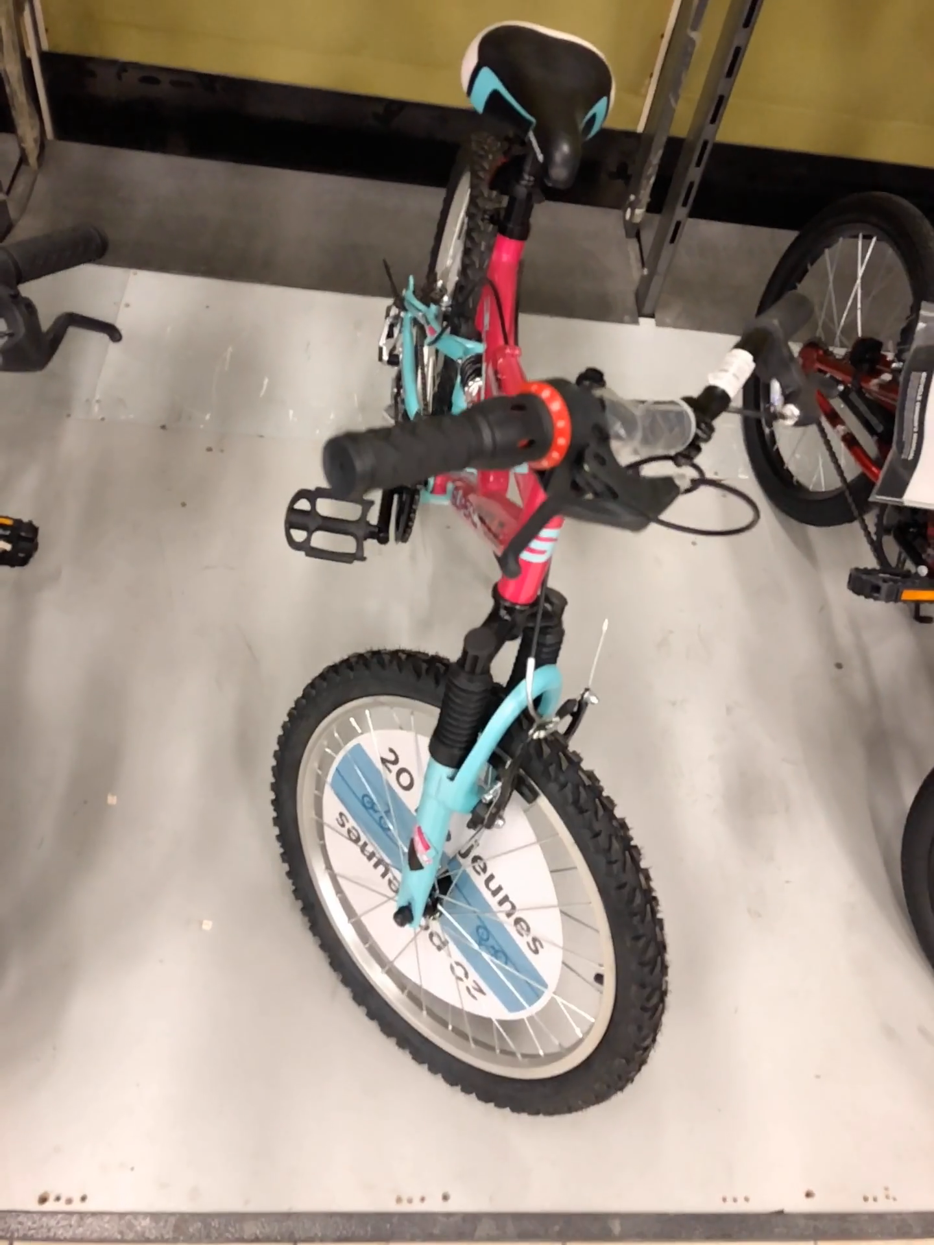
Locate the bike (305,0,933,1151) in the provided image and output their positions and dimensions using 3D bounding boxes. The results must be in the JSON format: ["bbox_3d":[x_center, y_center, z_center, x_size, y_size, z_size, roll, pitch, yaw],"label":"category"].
[{"bbox_3d":[0.138,-0.164,1.121,0.563,0.765,1.218,-1,59,-10],"label":"bike"}]
